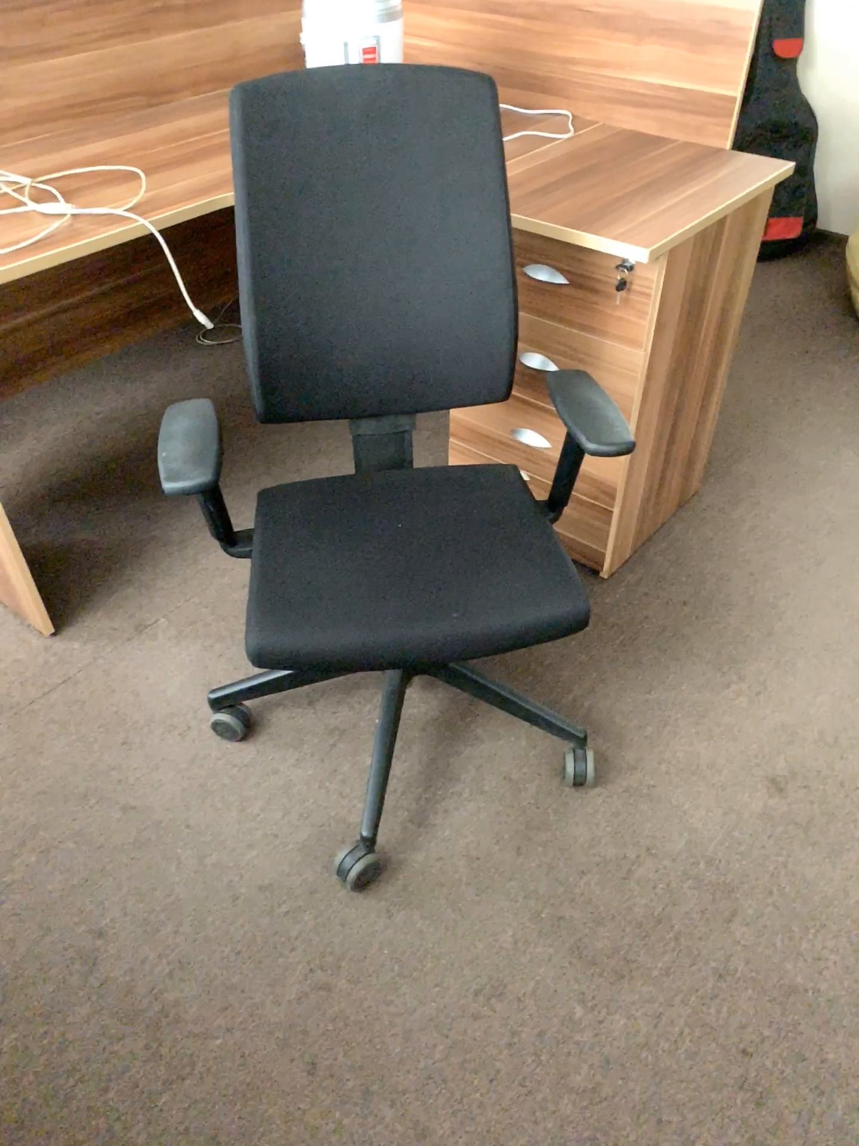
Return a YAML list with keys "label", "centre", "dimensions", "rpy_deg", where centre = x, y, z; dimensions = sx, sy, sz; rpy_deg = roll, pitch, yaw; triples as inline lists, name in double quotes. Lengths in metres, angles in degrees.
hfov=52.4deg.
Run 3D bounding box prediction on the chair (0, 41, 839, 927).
- label: "chair"
  centre: [-0.066, -0.149, 1.256]
  dimensions: [0.670, 0.915, 0.794]
  rpy_deg: [-7, 41, -7]
